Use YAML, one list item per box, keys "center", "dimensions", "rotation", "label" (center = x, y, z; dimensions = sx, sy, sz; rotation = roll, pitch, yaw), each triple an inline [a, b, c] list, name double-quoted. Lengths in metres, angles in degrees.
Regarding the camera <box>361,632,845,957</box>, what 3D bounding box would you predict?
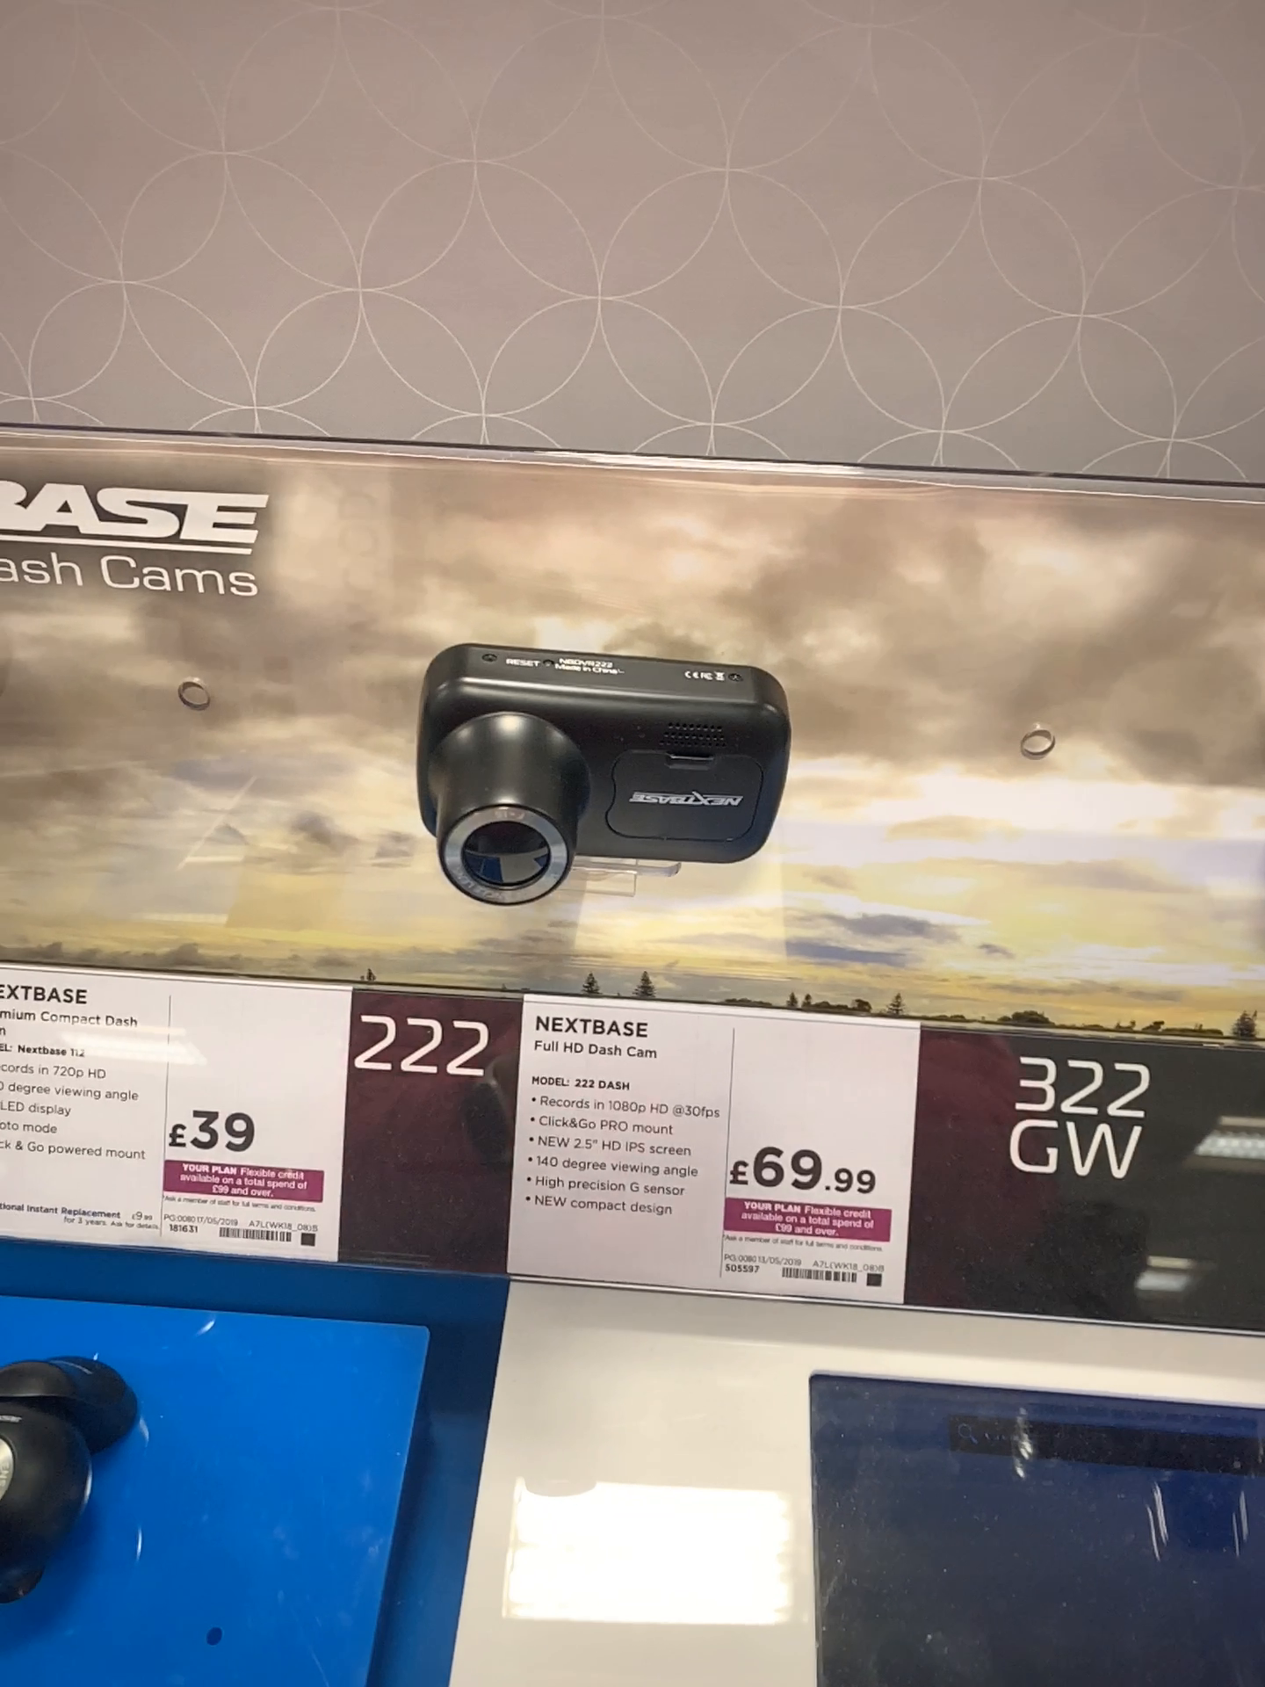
- center: [-0.005, -0.011, 0.274]
  dimensions: [0.090, 0.040, 0.050]
  rotation: [4, 37, 0]
  label: "camera"
